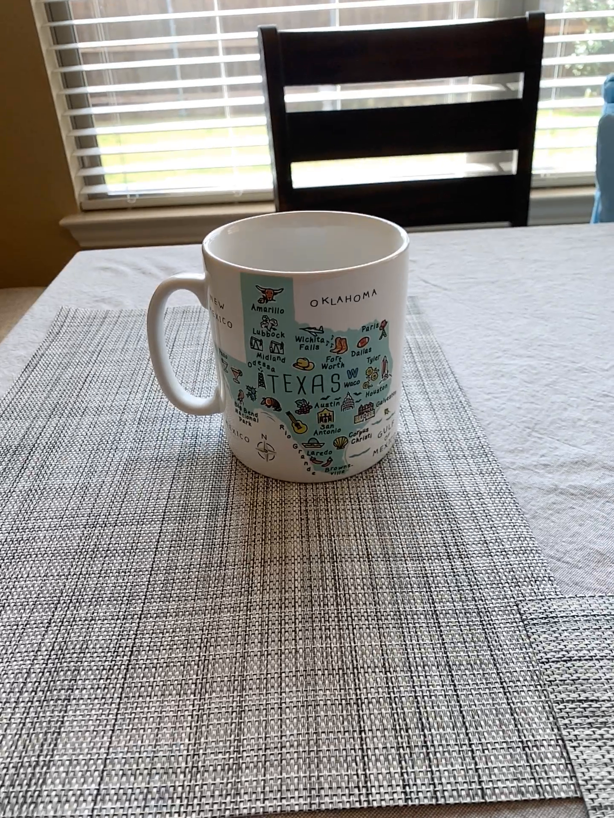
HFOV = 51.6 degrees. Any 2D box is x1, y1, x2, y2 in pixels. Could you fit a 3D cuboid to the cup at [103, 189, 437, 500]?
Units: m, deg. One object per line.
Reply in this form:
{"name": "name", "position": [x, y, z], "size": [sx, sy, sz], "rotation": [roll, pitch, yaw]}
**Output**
{"name": "cup", "position": [-0.011, -0.046, 0.378], "size": [0.150, 0.136, 0.112], "rotation": [7, 33, 17]}
